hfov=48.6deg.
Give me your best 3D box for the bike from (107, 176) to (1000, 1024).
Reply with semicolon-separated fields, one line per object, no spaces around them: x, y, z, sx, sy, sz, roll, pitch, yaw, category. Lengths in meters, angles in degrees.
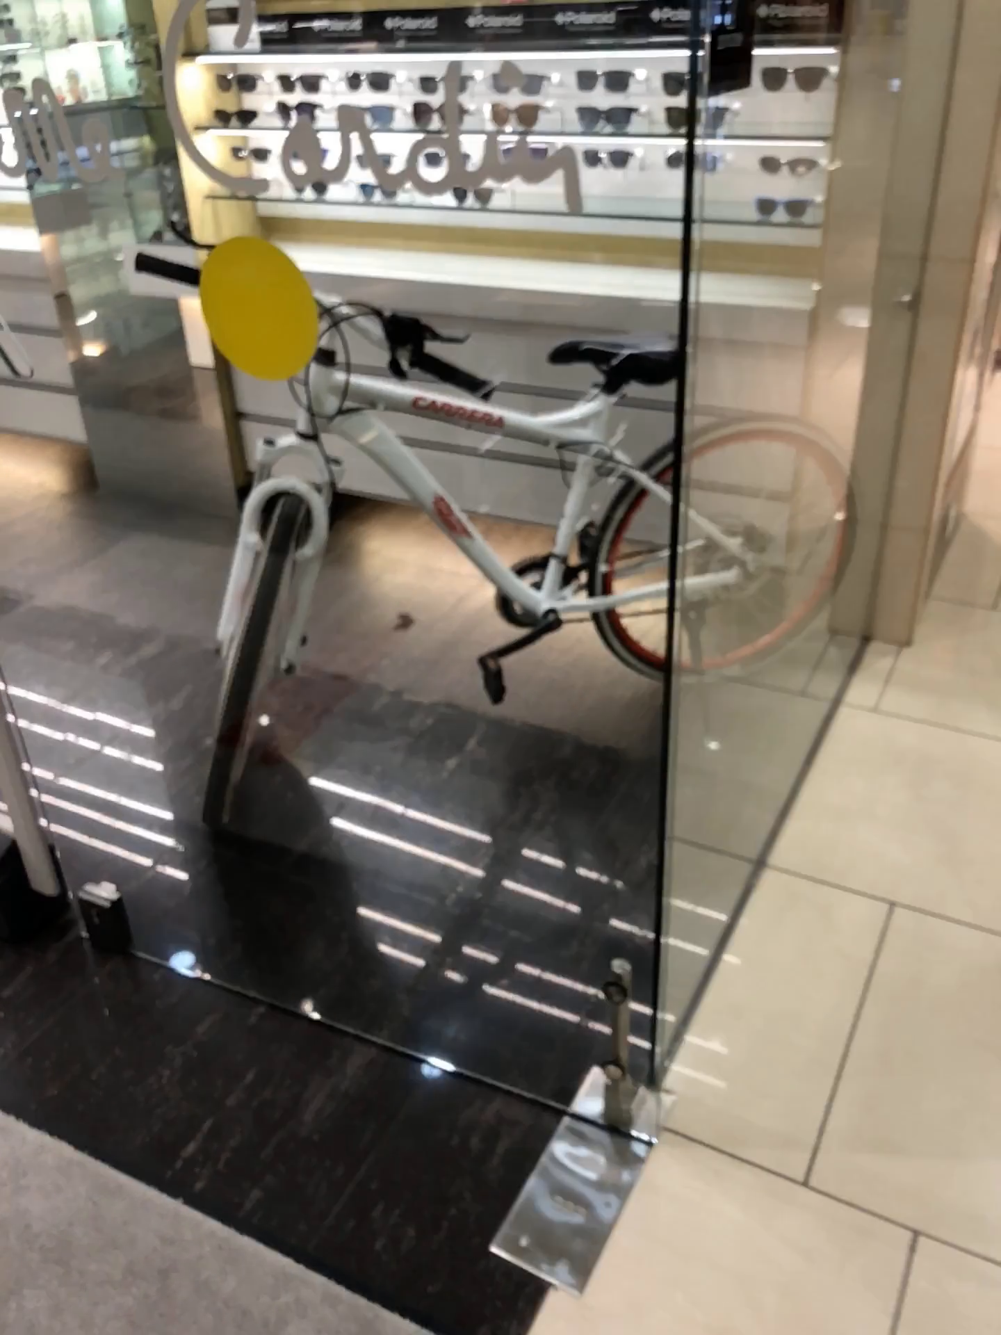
0.119;-0.224;2.020;1.383;0.947;0.594;-21;34;-23;bike
